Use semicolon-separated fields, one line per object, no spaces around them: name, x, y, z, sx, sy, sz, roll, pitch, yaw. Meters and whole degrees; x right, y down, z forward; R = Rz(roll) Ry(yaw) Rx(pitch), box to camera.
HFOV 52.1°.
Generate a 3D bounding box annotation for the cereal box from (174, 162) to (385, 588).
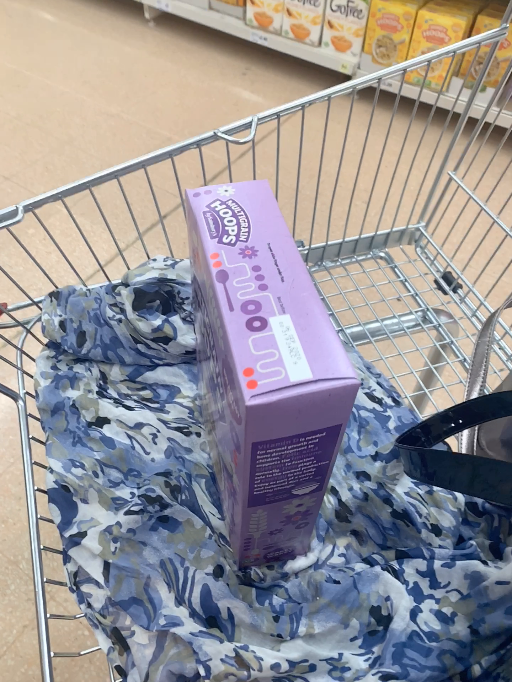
cereal box;-0.004;0.040;0.415;0.070;0.268;0.212;-9;51;-11
